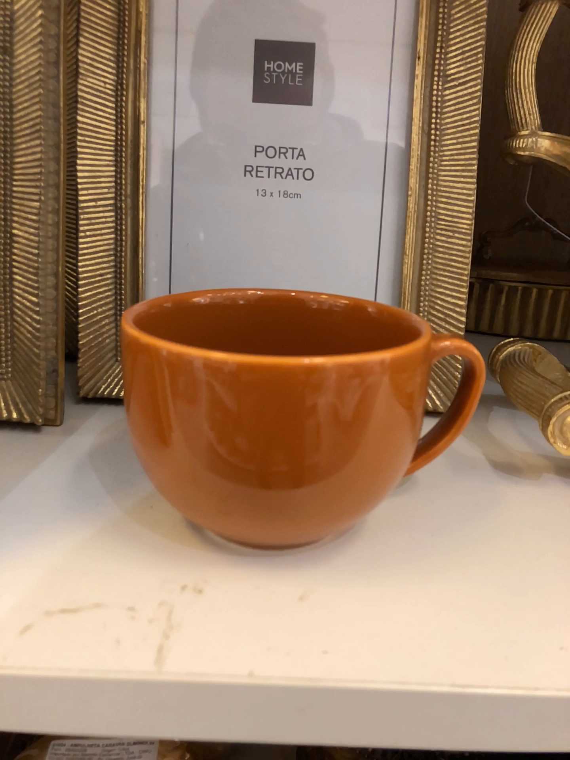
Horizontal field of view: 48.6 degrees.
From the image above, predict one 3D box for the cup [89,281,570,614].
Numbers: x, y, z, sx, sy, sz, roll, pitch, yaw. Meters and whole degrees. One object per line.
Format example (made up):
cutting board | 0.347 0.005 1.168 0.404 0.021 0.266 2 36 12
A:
cup | 0.006 0.009 0.194 0.120 0.060 0.090 -3 20 -14
